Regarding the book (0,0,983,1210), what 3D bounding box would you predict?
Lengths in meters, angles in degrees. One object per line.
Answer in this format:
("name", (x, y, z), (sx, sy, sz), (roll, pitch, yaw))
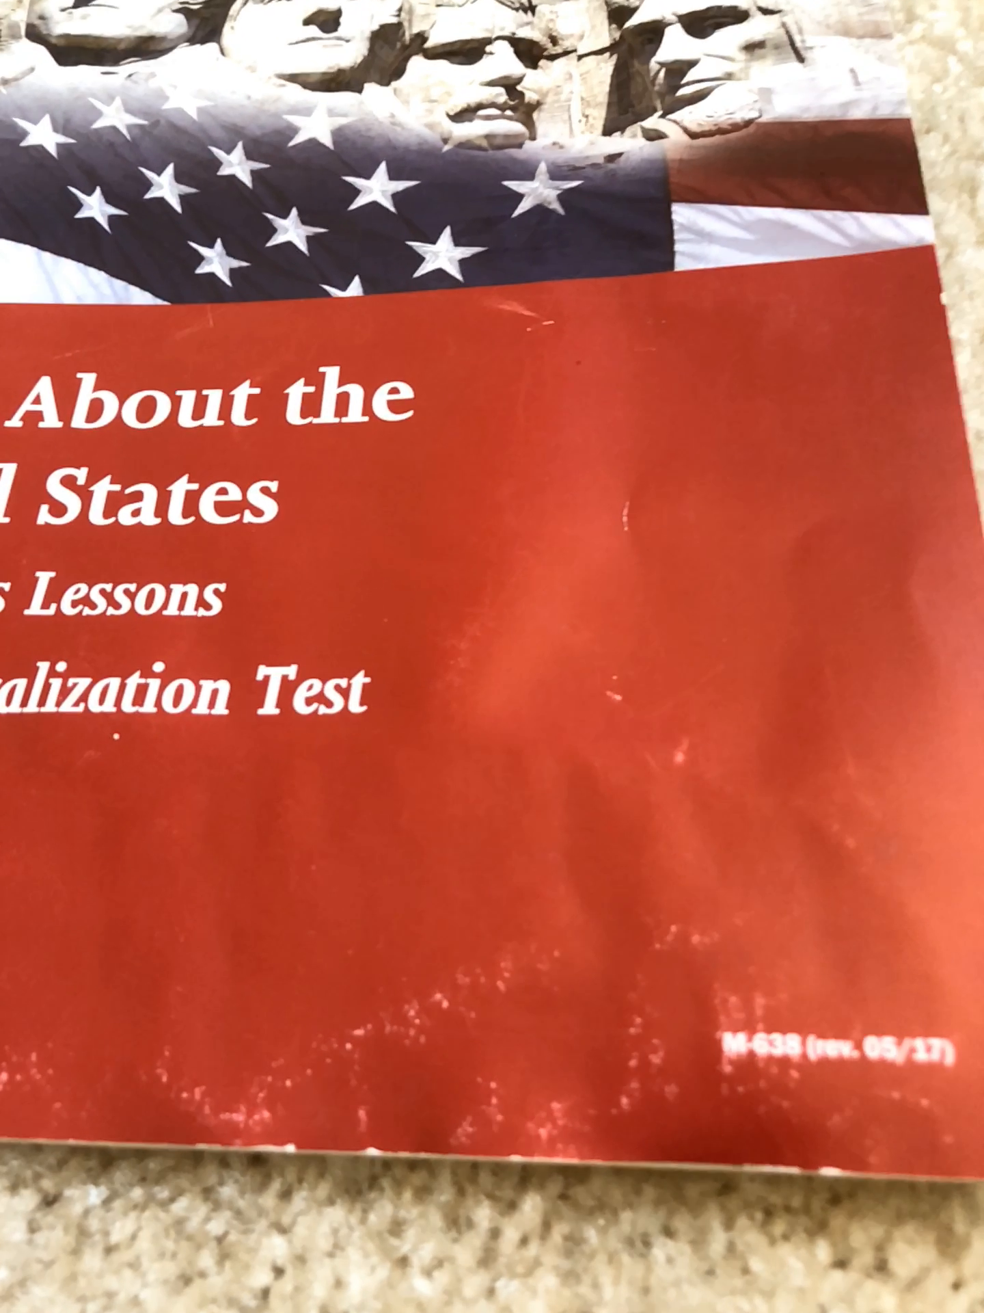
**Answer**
("book", (-0.030, -0.058, 0.198), (0.208, 0.028, 0.274), (0, 64, 6))
